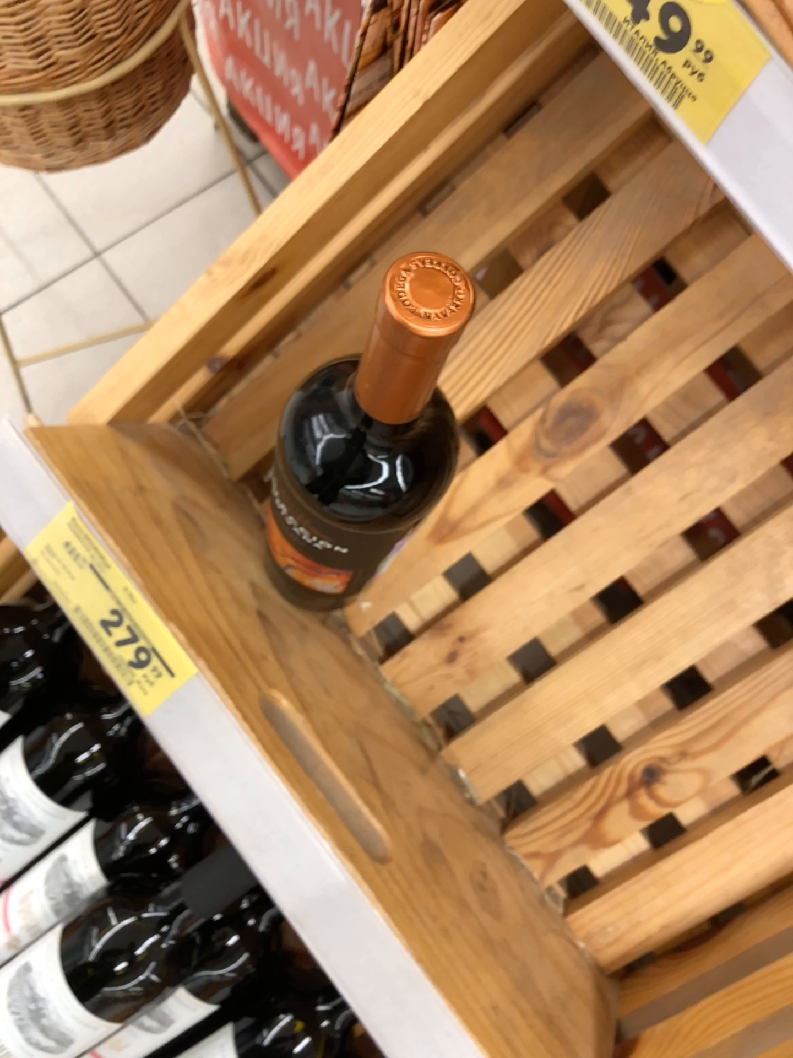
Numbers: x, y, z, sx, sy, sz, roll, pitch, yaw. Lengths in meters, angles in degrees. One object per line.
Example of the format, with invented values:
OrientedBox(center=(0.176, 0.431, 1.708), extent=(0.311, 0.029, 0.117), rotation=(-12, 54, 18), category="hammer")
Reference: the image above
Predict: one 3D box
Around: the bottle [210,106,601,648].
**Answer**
OrientedBox(center=(-0.024, -0.032, 0.392), extent=(0.080, 0.290, 0.086), rotation=(4, 71, -11), category="bottle")
